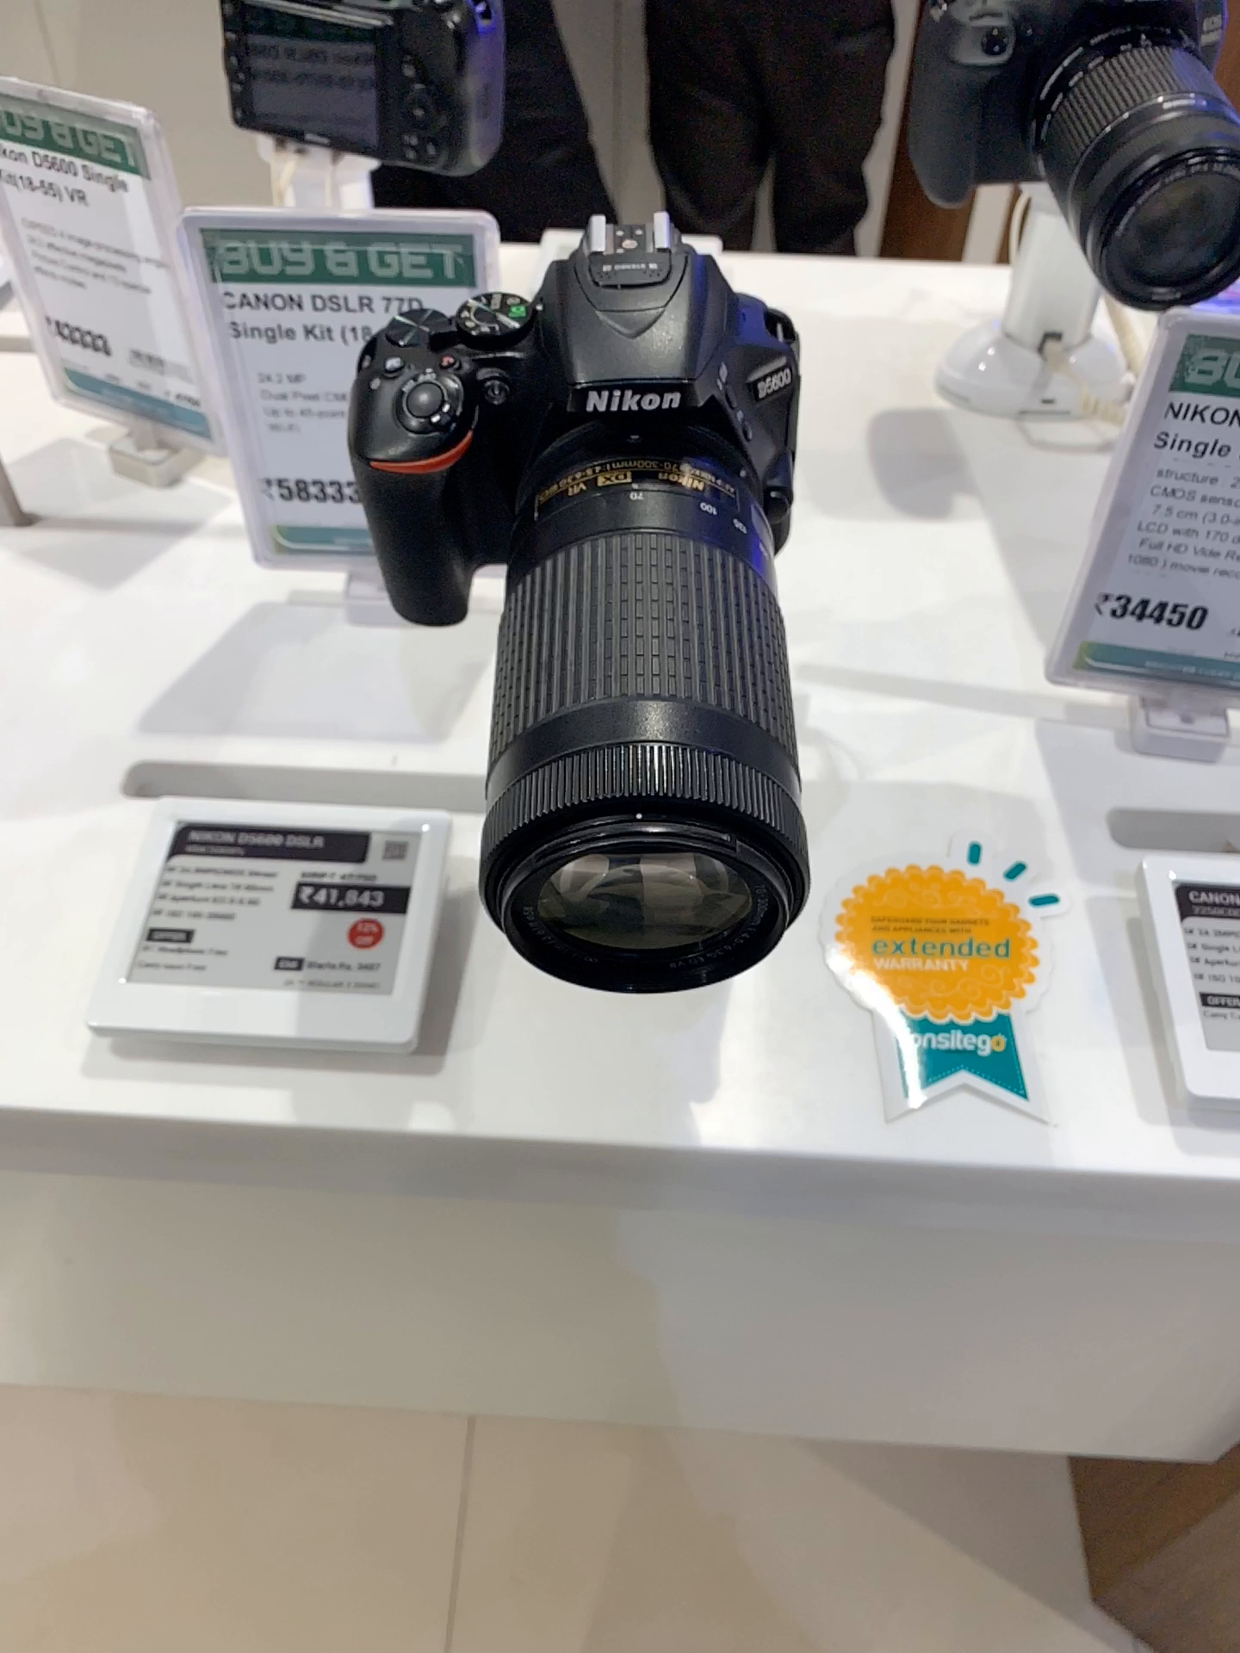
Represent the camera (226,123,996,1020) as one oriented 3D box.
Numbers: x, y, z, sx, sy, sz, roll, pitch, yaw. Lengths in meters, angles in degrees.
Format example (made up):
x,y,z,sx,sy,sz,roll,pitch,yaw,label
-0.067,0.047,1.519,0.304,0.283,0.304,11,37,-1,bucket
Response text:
x,y,z,sx,sy,sz,roll,pitch,yaw,label
-0.002,-0.090,0.340,0.130,0.080,0.281,1,48,-1,camera
